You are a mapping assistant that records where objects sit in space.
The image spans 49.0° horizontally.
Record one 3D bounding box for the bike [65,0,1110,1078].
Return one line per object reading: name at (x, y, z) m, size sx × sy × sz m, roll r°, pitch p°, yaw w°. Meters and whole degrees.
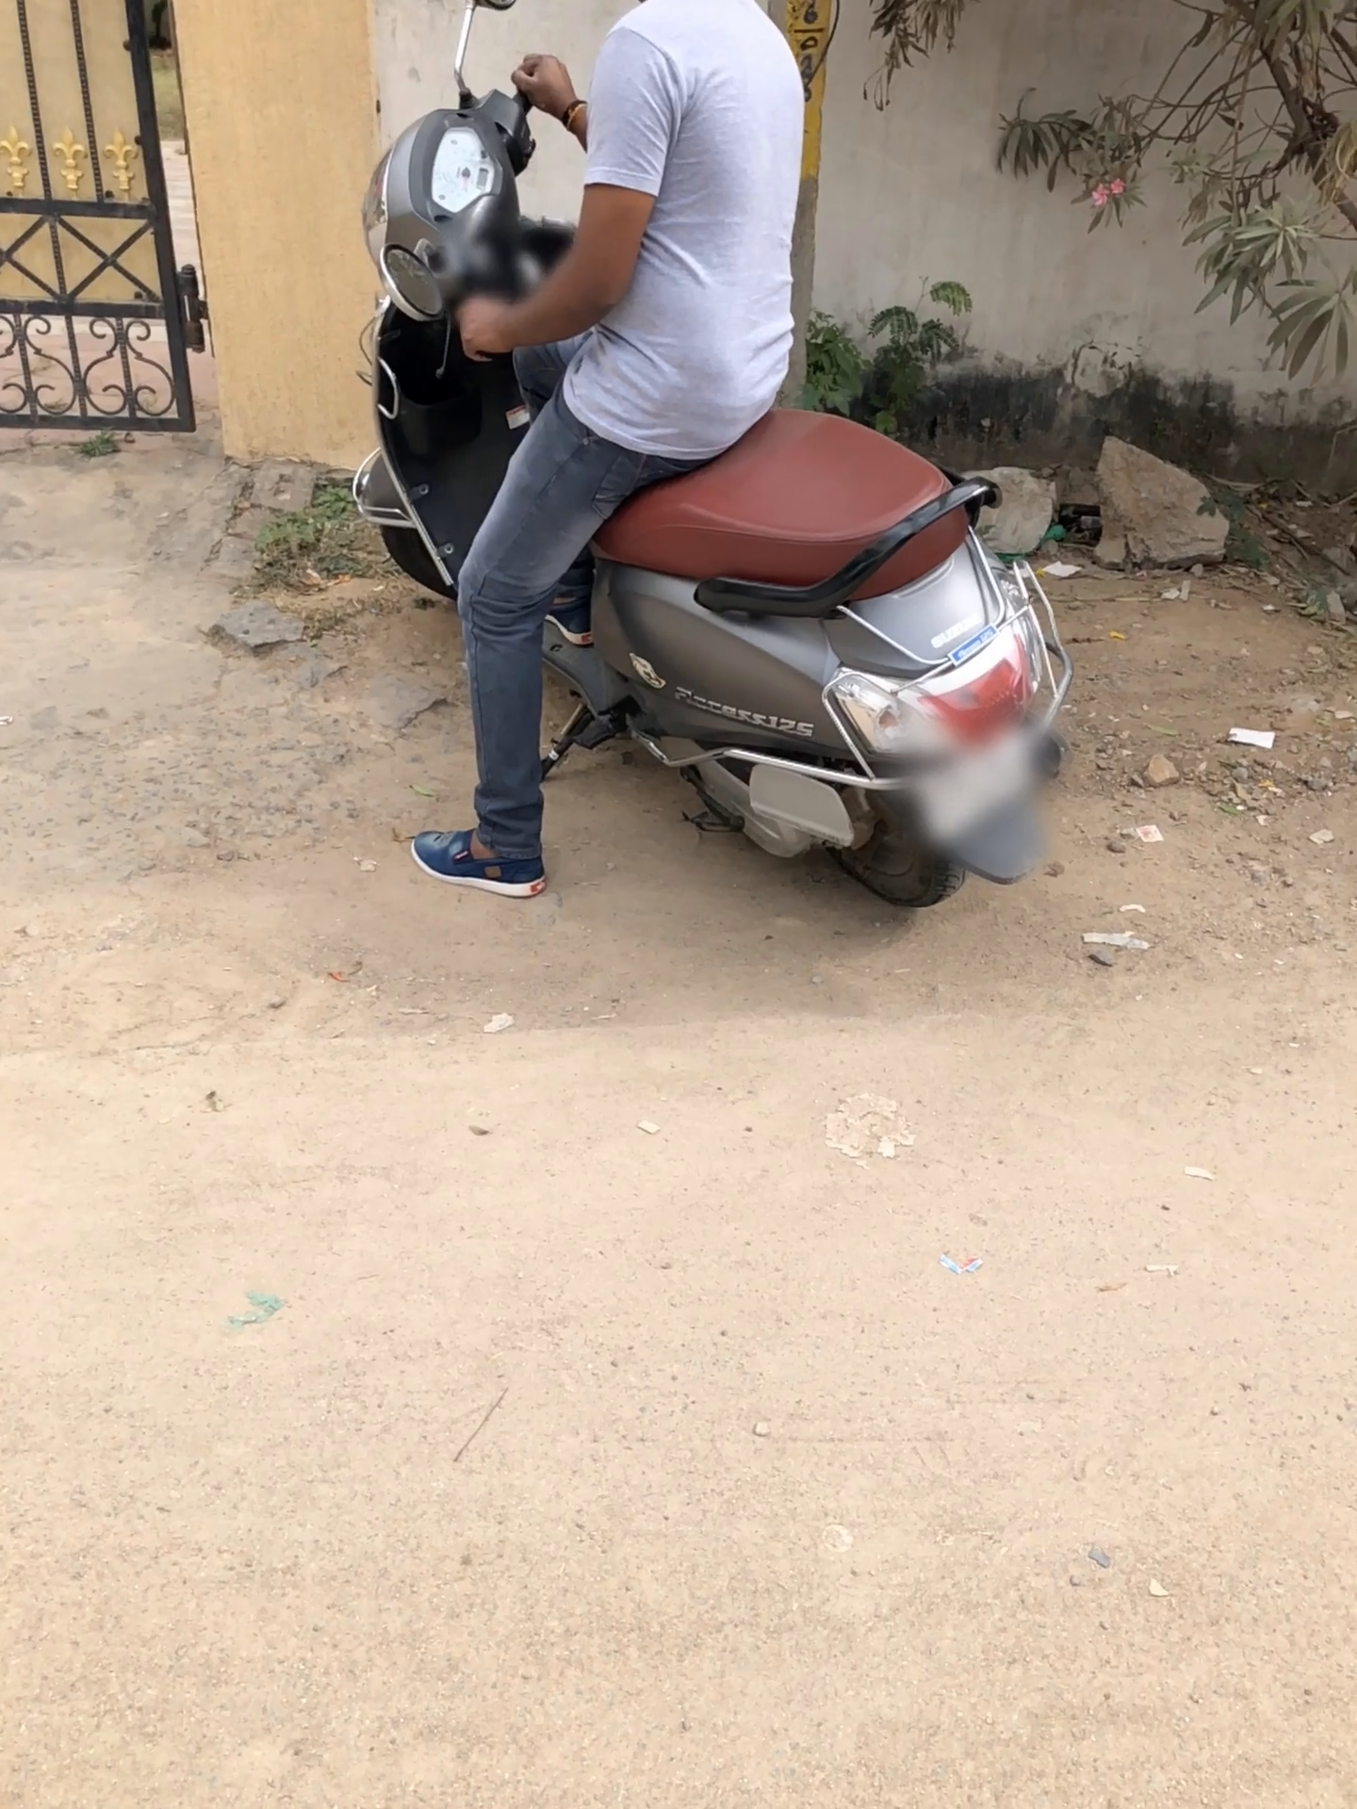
bike at (-0.233, -0.723, 2.390) m, size 0.613 × 1.195 × 1.499 m, roll -24°, pitch 44°, yaw -37°
